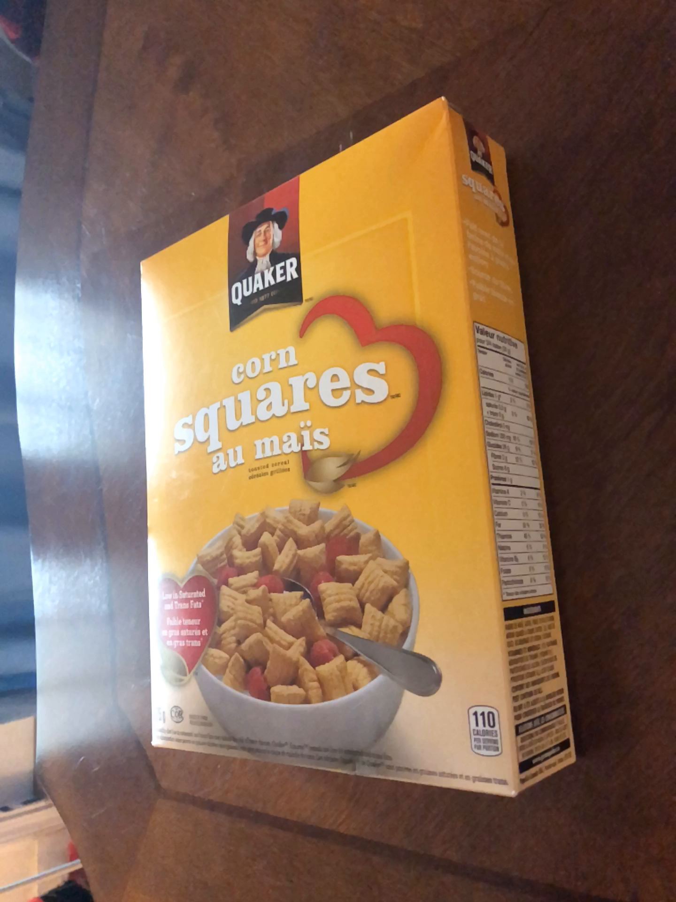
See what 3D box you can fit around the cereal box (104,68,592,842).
[{"bbox_3d":[-0.019,0.009,0.343,0.221,0.050,0.270,-12,78,37],"label":"cereal box"}]
